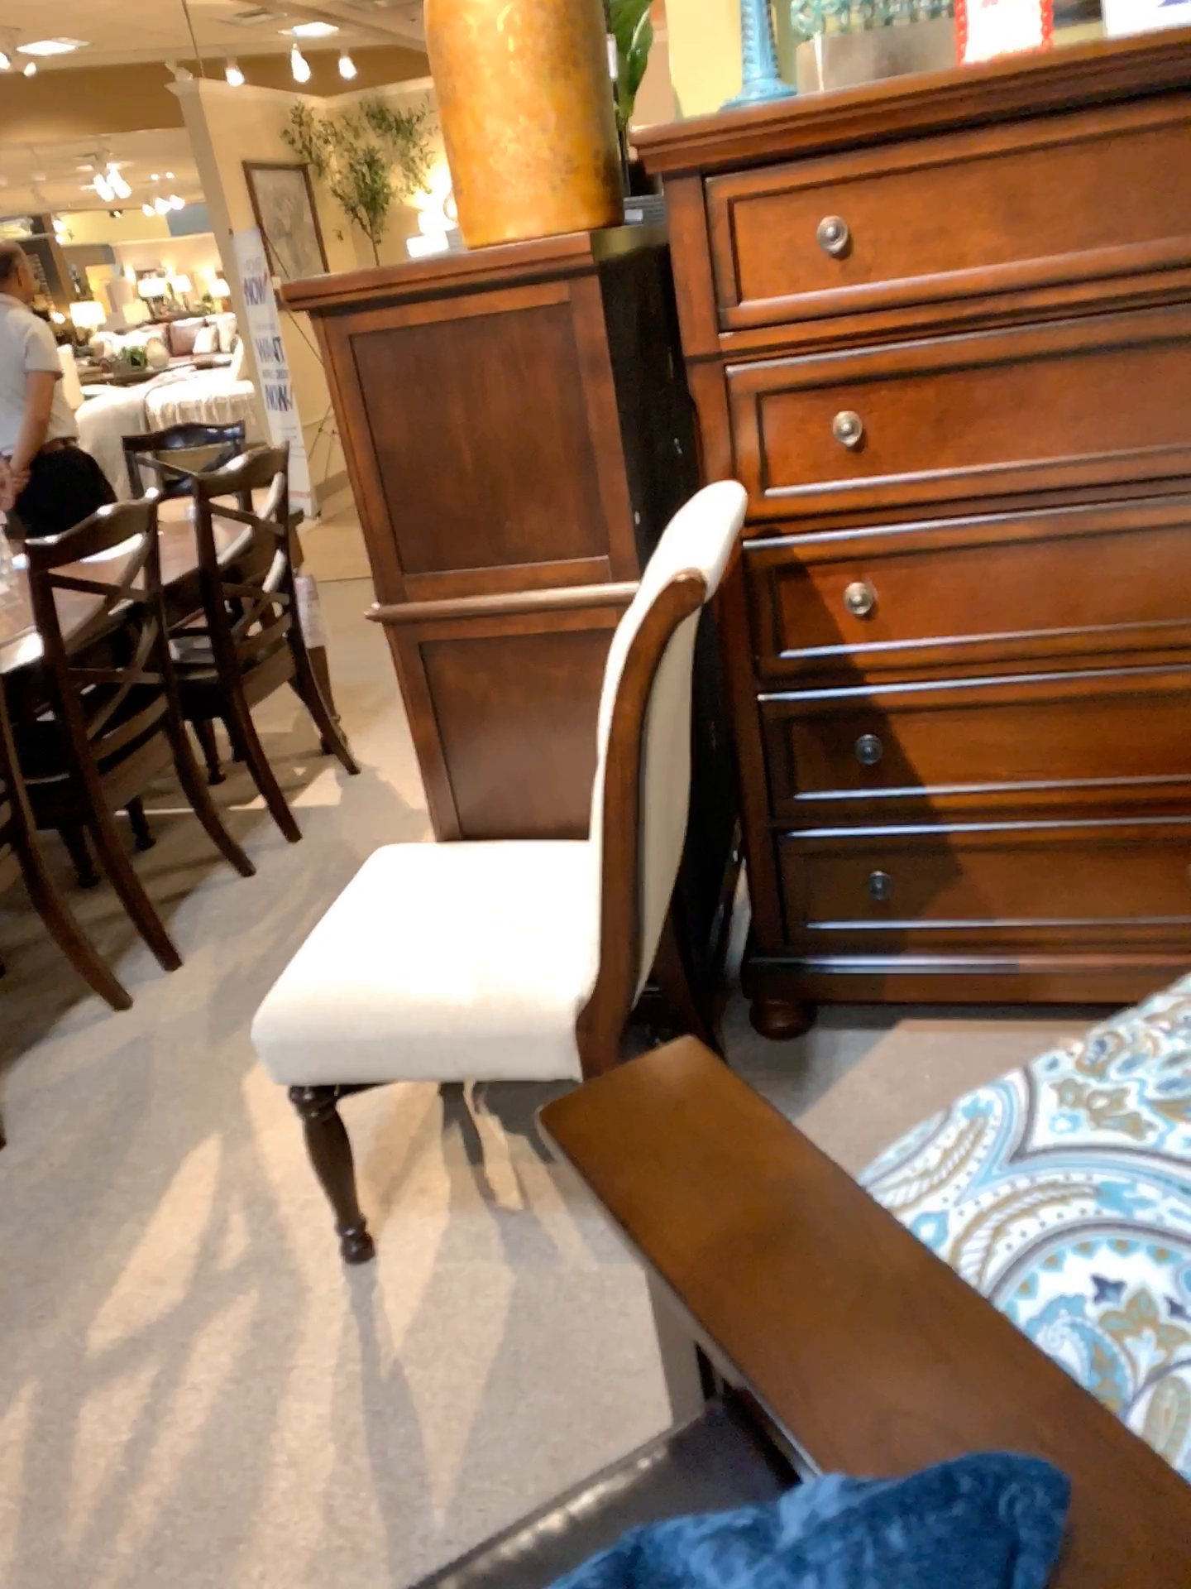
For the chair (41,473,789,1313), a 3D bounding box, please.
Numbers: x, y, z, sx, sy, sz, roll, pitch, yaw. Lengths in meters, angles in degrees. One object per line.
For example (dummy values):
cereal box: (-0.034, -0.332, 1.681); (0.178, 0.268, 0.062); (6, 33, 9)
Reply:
chair: (-0.140, 0.124, 1.694); (0.718, 0.949, 0.587); (-2, 25, 14)
